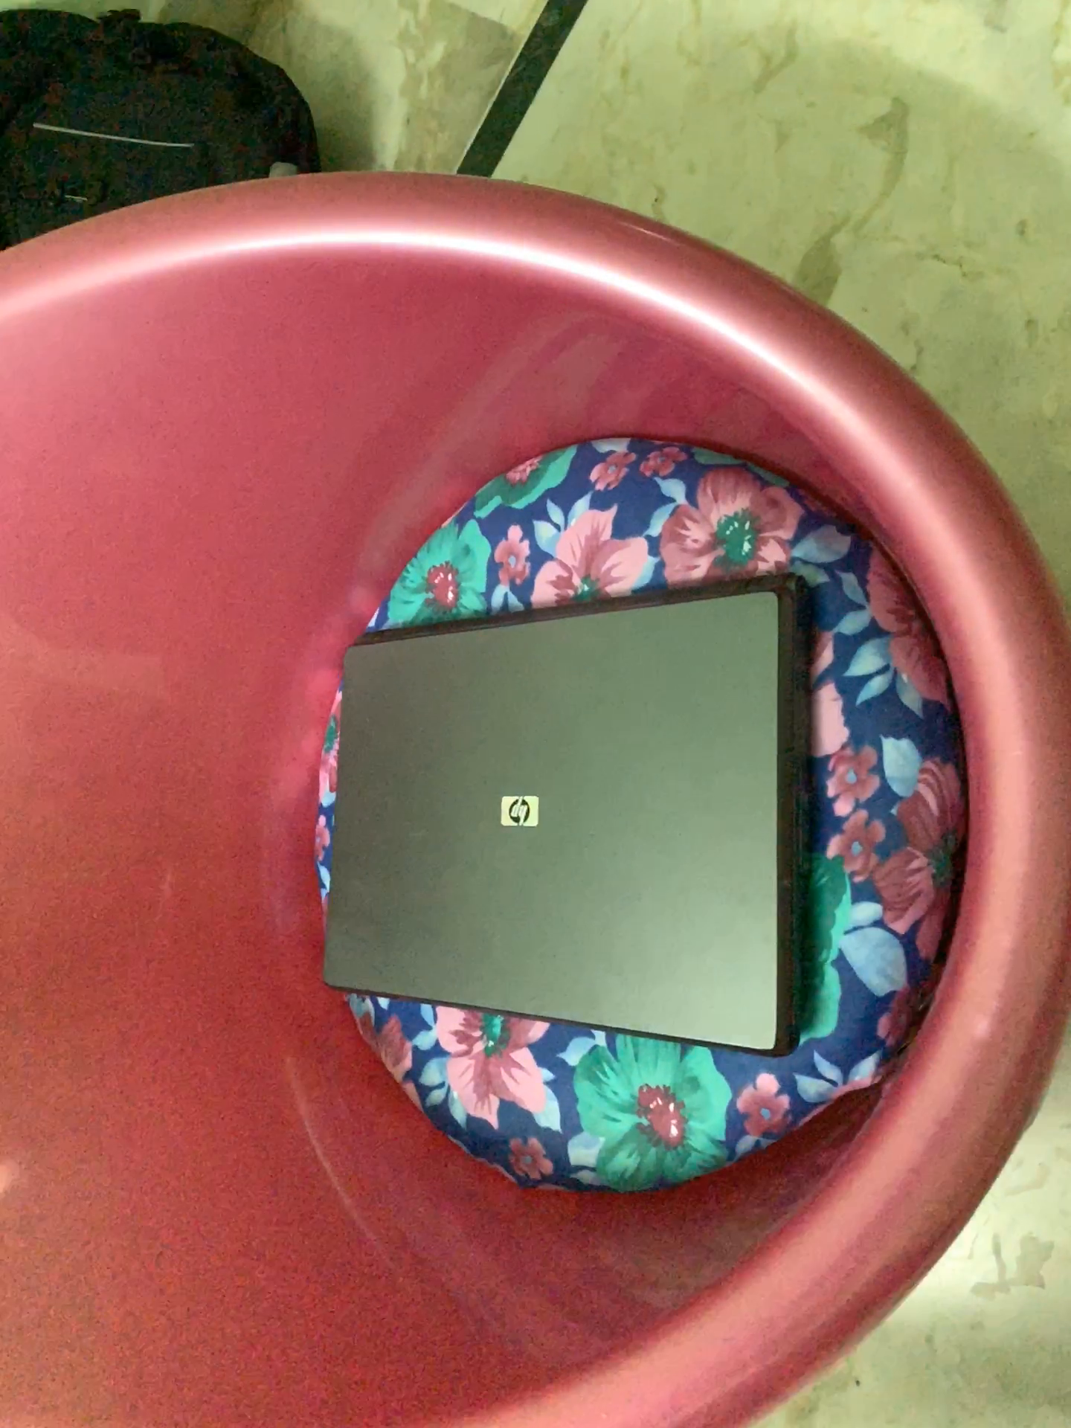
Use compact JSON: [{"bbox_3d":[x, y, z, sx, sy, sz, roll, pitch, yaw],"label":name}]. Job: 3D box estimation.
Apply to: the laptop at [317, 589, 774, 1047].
[{"bbox_3d":[-0.010,0.055,0.619,0.305,0.003,0.222,-3,81,35],"label":"laptop"}]
